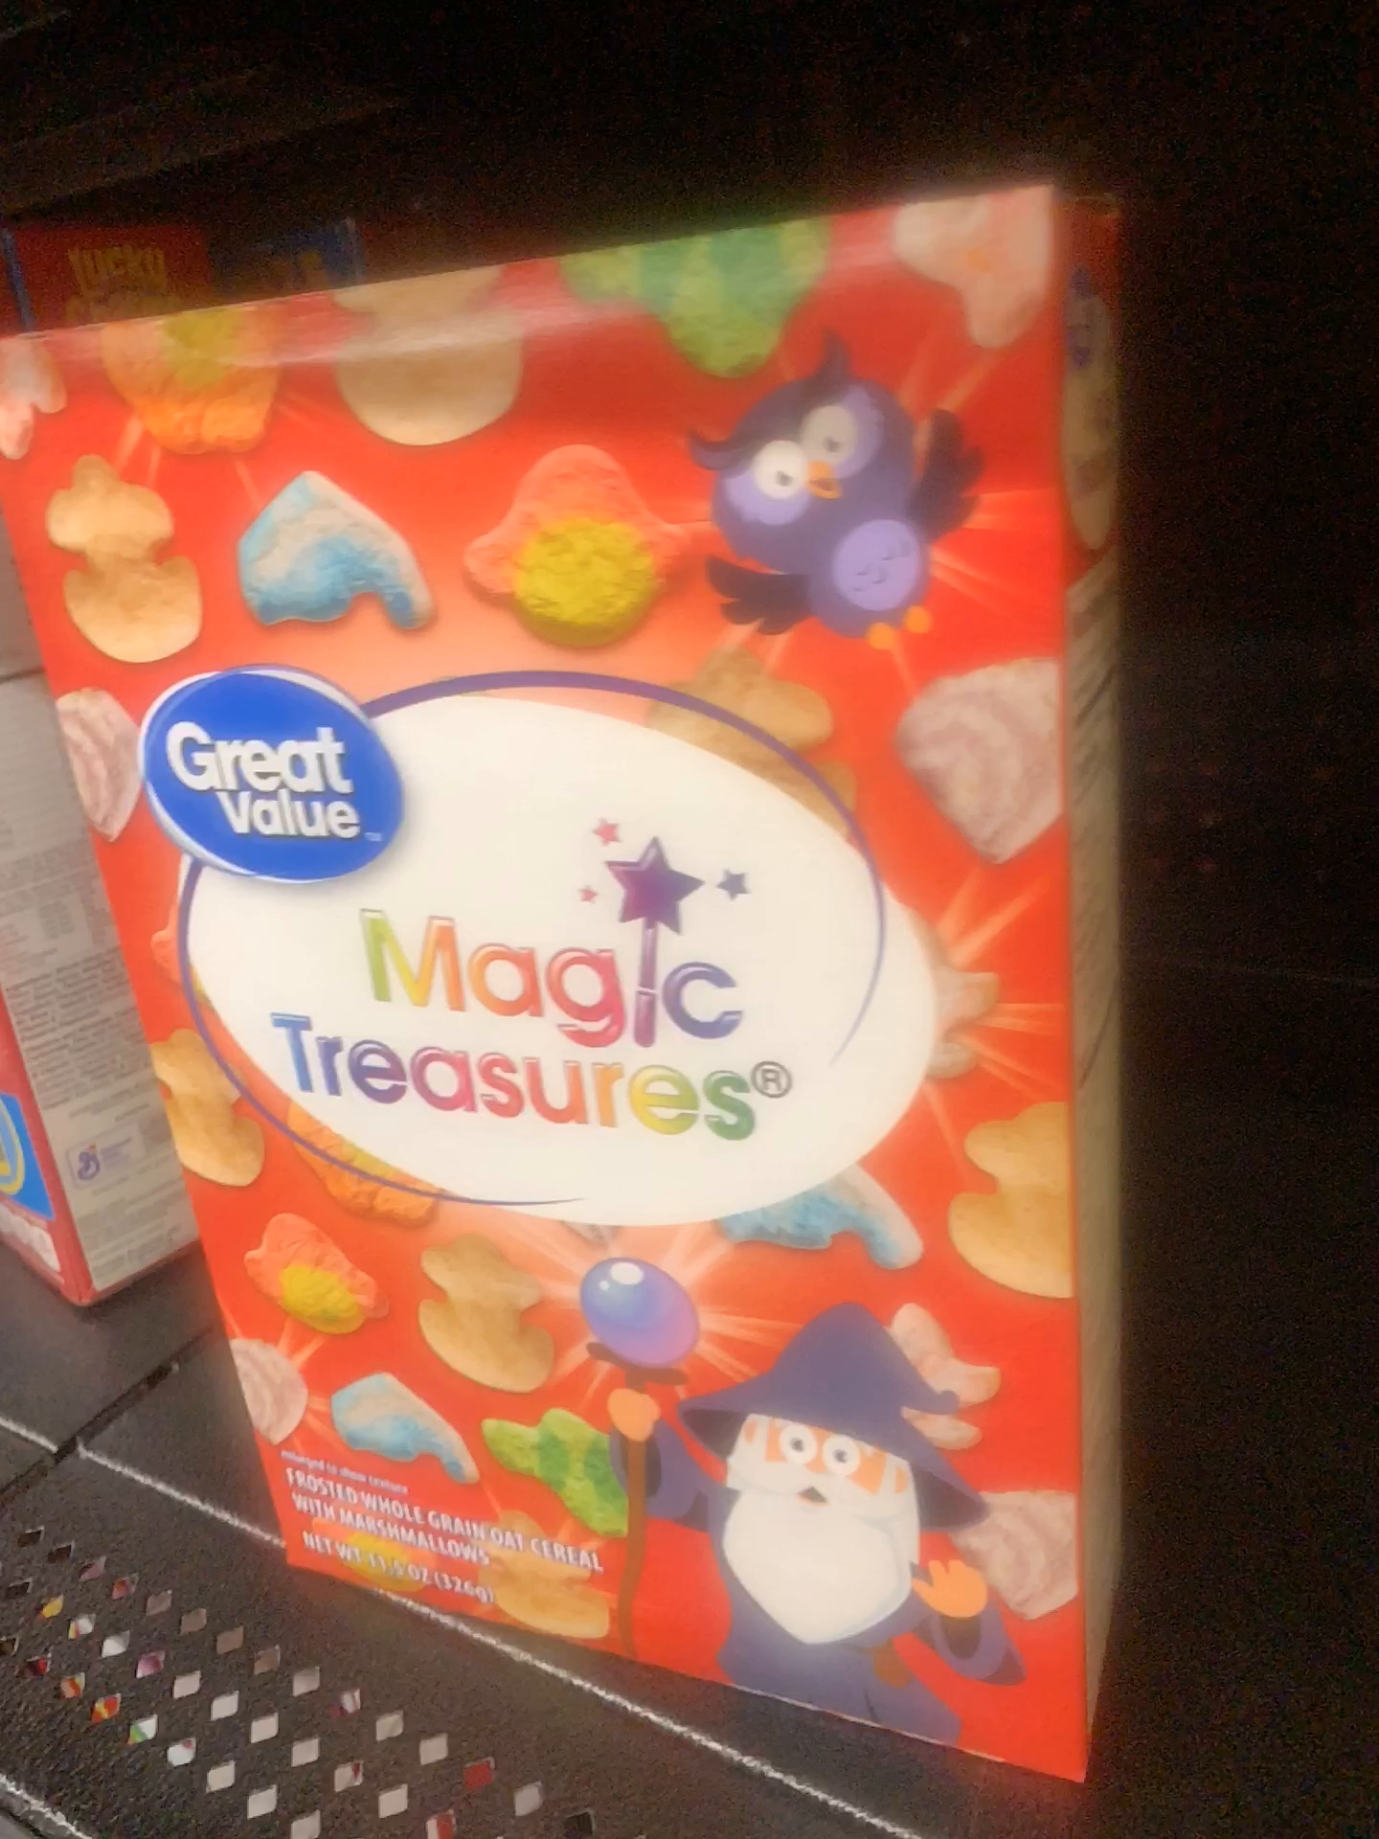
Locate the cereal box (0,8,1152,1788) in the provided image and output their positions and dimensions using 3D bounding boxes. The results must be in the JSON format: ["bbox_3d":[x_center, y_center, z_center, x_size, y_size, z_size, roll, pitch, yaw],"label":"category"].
[{"bbox_3d":[-0.017,0.007,0.286,0.200,0.279,0.070,2,19,24],"label":"cereal box"}]
